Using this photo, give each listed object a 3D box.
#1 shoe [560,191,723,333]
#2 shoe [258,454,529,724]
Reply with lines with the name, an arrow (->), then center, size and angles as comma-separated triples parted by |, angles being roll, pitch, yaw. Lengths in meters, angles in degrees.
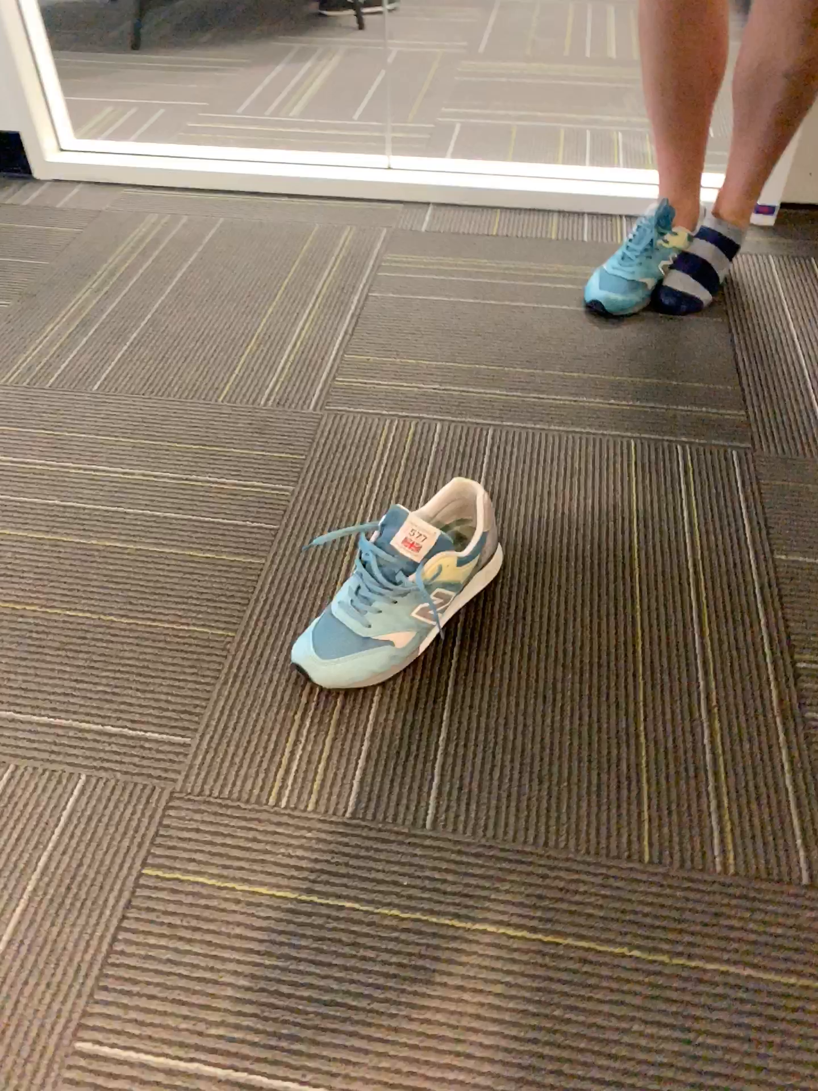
shoe -> 0.393, -0.483, 1.406 | 0.130, 0.099, 0.291 | 29, 52, 27
shoe -> -0.008, 0.035, 0.915 | 0.130, 0.099, 0.291 | 29, 52, 27
